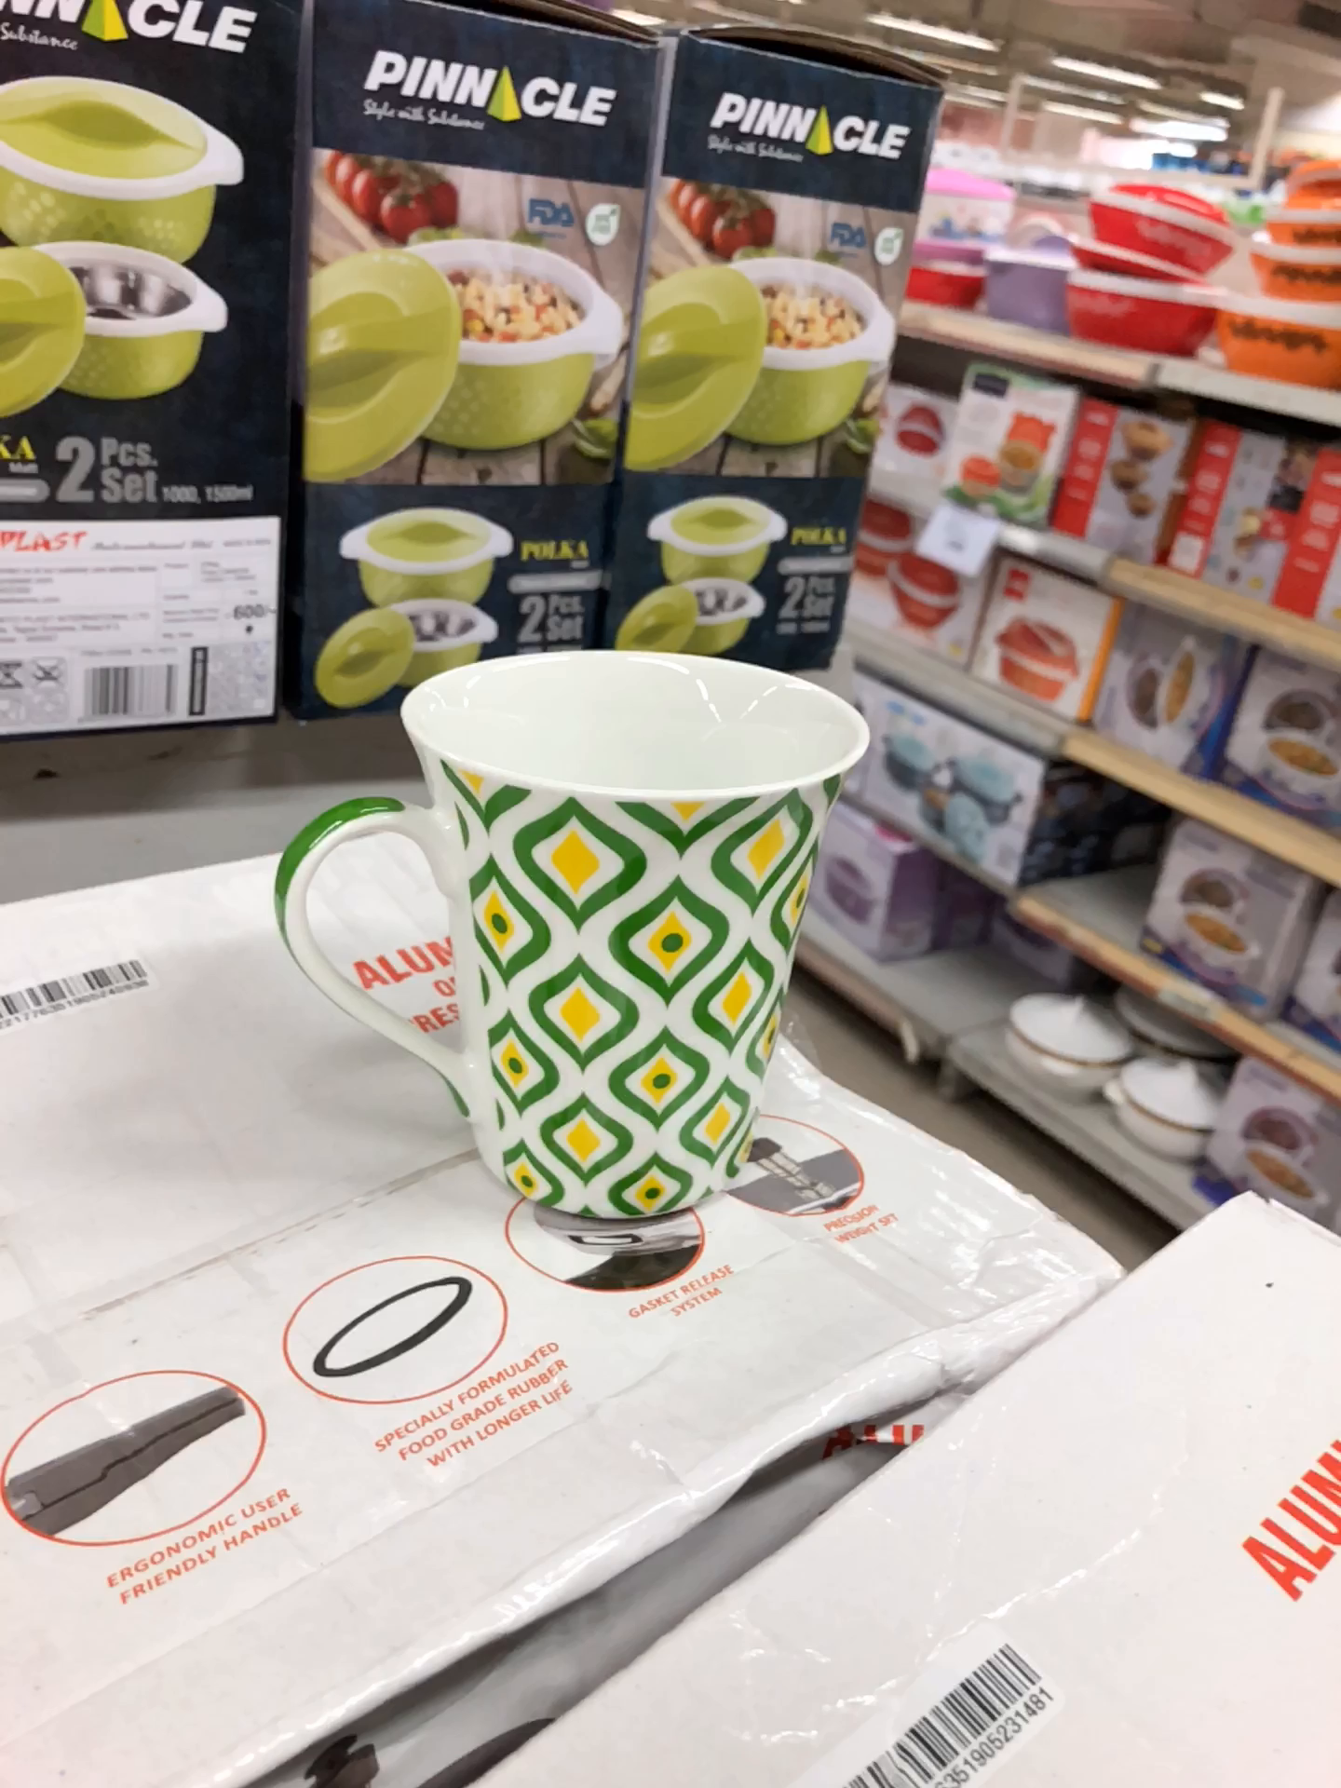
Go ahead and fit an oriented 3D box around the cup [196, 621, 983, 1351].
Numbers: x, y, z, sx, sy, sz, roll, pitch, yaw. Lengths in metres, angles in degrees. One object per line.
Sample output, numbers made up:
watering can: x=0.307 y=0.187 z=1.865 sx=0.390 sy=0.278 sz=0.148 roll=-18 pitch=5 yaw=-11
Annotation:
cup: x=-0.018 y=0.006 z=0.286 sx=0.110 sy=0.090 sz=0.090 roll=-13 pitch=28 yaw=-38
